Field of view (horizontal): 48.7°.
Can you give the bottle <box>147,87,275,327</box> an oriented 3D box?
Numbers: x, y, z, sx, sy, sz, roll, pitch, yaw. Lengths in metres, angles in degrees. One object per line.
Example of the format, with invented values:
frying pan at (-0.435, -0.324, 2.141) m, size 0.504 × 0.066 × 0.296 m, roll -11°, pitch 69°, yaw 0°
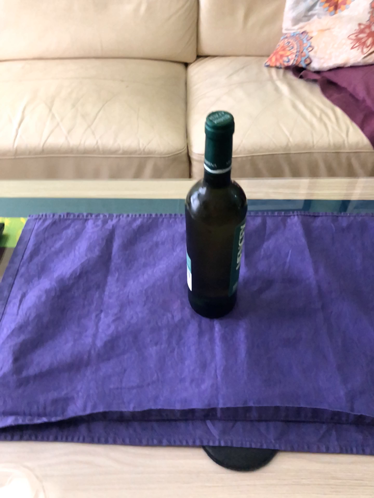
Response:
bottle at (0.027, -0.031, 0.478) m, size 0.090 × 0.269 × 0.090 m, roll -1°, pitch 49°, yaw 1°
